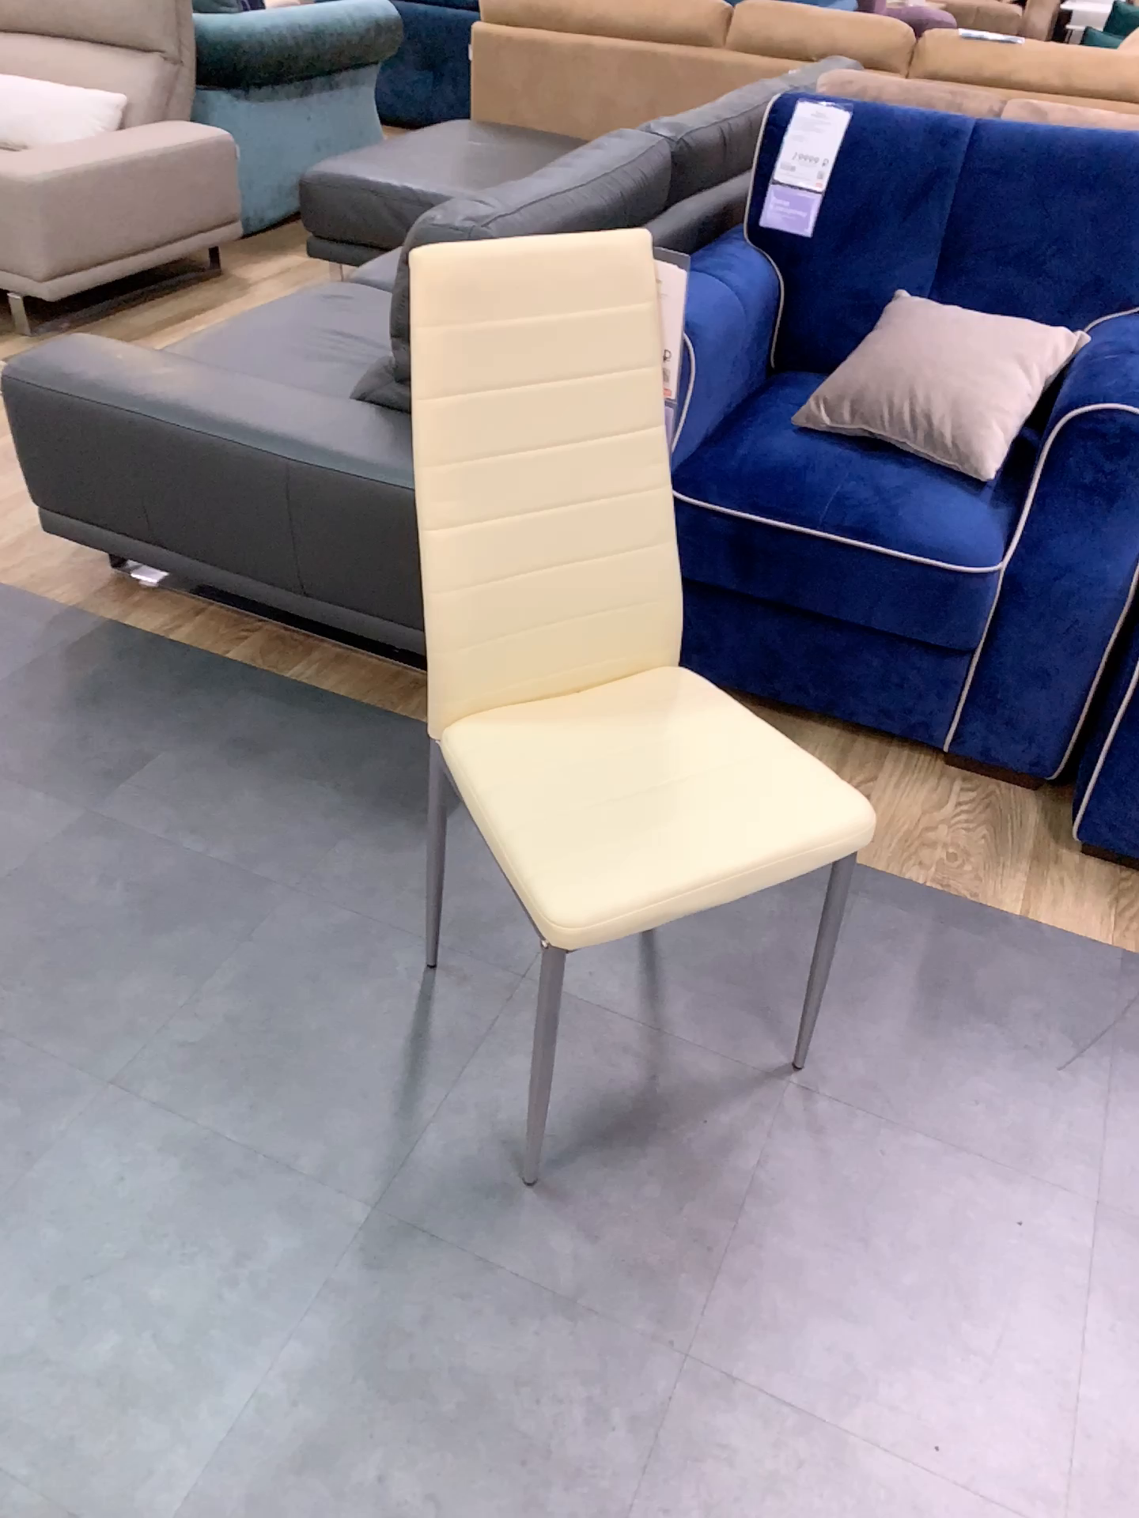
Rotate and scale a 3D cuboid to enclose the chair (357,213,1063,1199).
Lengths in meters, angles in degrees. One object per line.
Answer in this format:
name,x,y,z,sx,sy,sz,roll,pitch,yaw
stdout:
chair,0.077,-0.045,1.326,0.446,0.940,0.479,-15,42,-23
